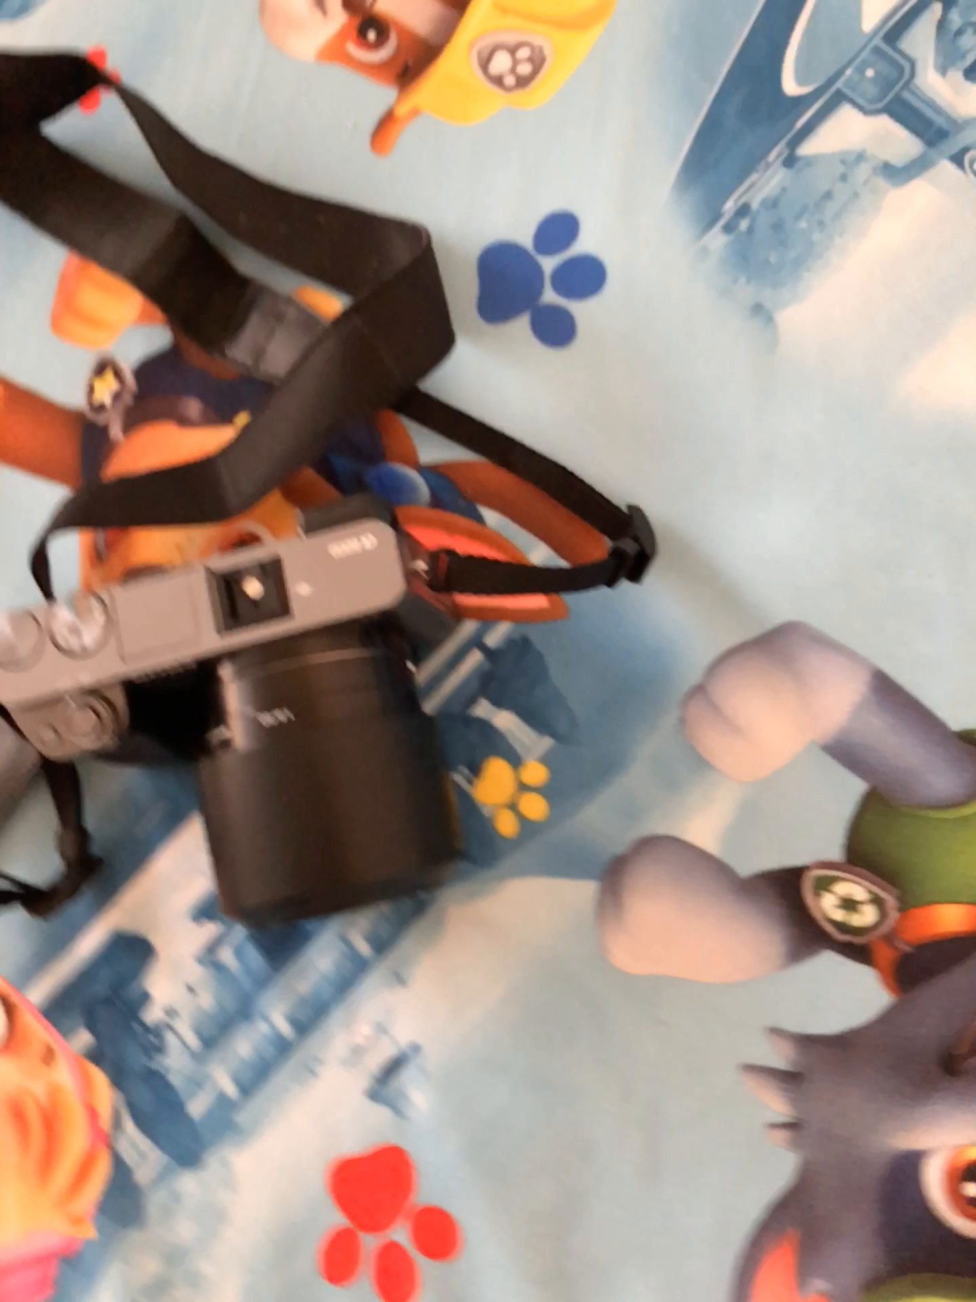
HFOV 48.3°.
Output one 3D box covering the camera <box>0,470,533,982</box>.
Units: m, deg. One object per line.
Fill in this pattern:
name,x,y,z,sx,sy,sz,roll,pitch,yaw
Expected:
camera,-0.068,0.026,0.329,0.130,0.080,0.110,-14,78,10
